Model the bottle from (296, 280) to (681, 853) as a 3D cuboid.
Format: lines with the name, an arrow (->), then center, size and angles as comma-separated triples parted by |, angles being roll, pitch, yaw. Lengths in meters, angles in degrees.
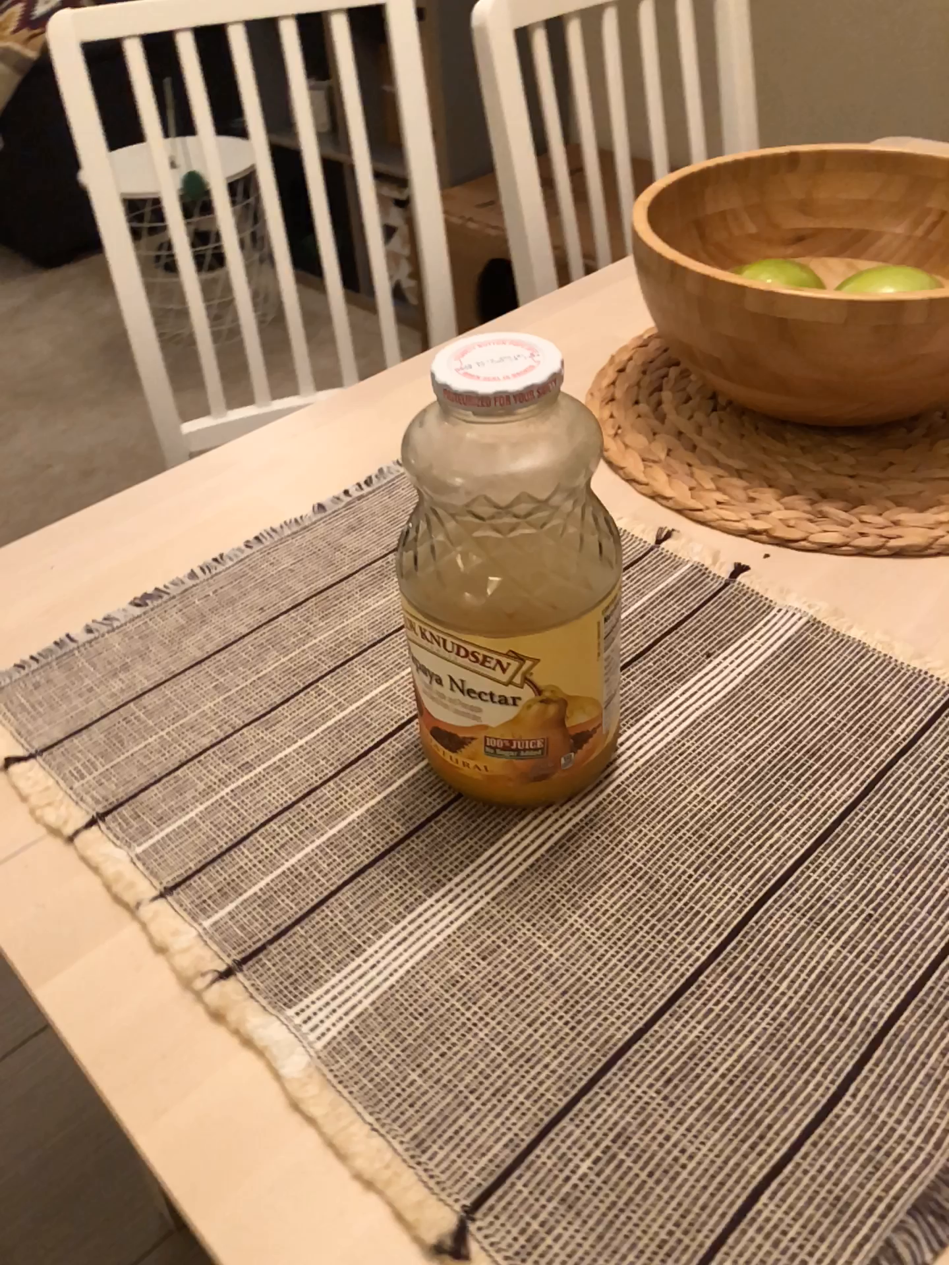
bottle -> 0.010, -0.026, 0.447 | 0.100, 0.199, 0.100 | -3, 39, 2
